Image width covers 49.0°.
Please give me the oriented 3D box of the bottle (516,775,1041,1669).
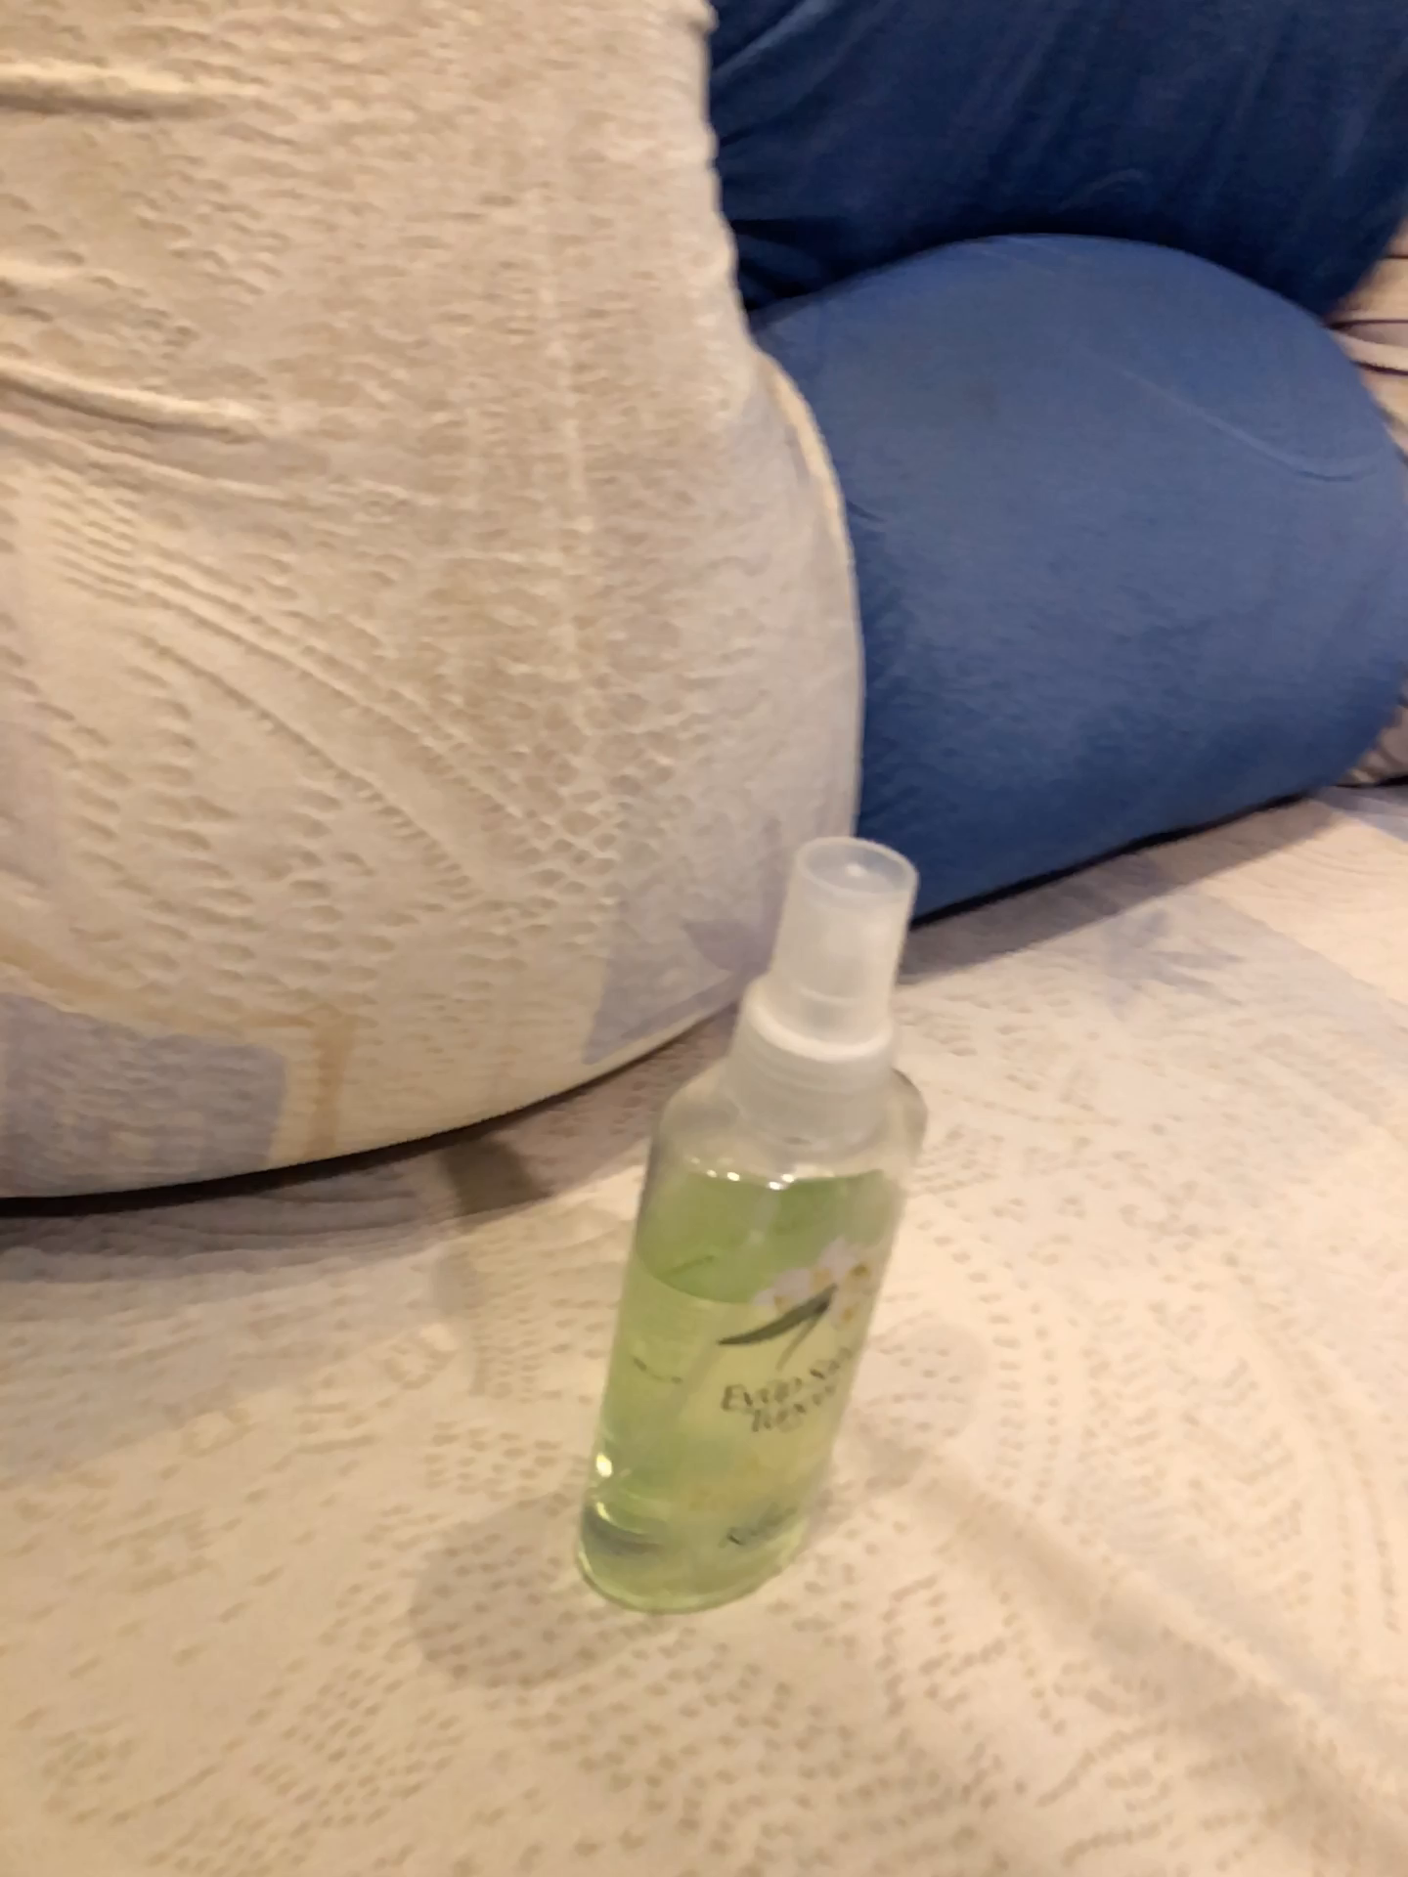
[{"bbox_3d":[0.007,0.051,0.266,0.058,0.149,0.037,-15,37,-35],"label":"bottle"}]
